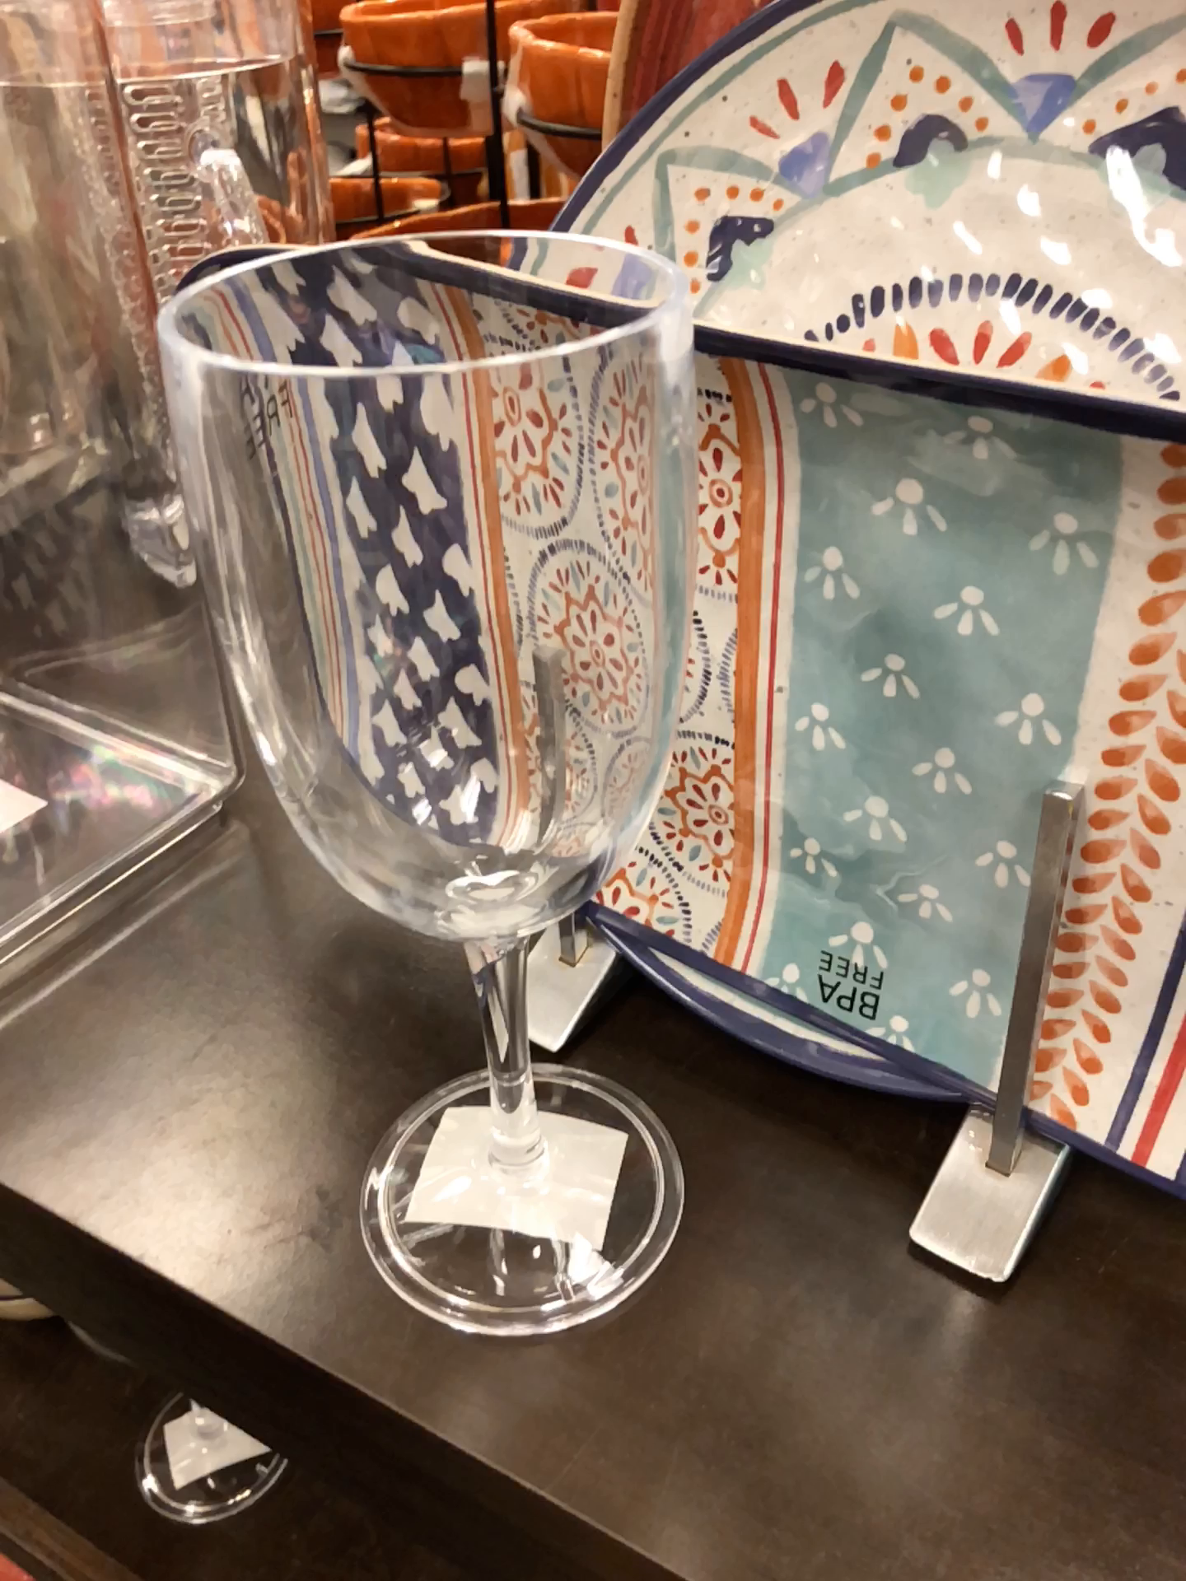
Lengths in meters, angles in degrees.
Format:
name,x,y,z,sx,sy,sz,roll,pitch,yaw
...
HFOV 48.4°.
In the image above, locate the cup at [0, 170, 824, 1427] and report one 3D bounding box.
name,x,y,z,sx,sy,sz,roll,pitch,yaw
cup,-0.023,0.005,0.243,0.090,0.200,0.085,-2,34,1
